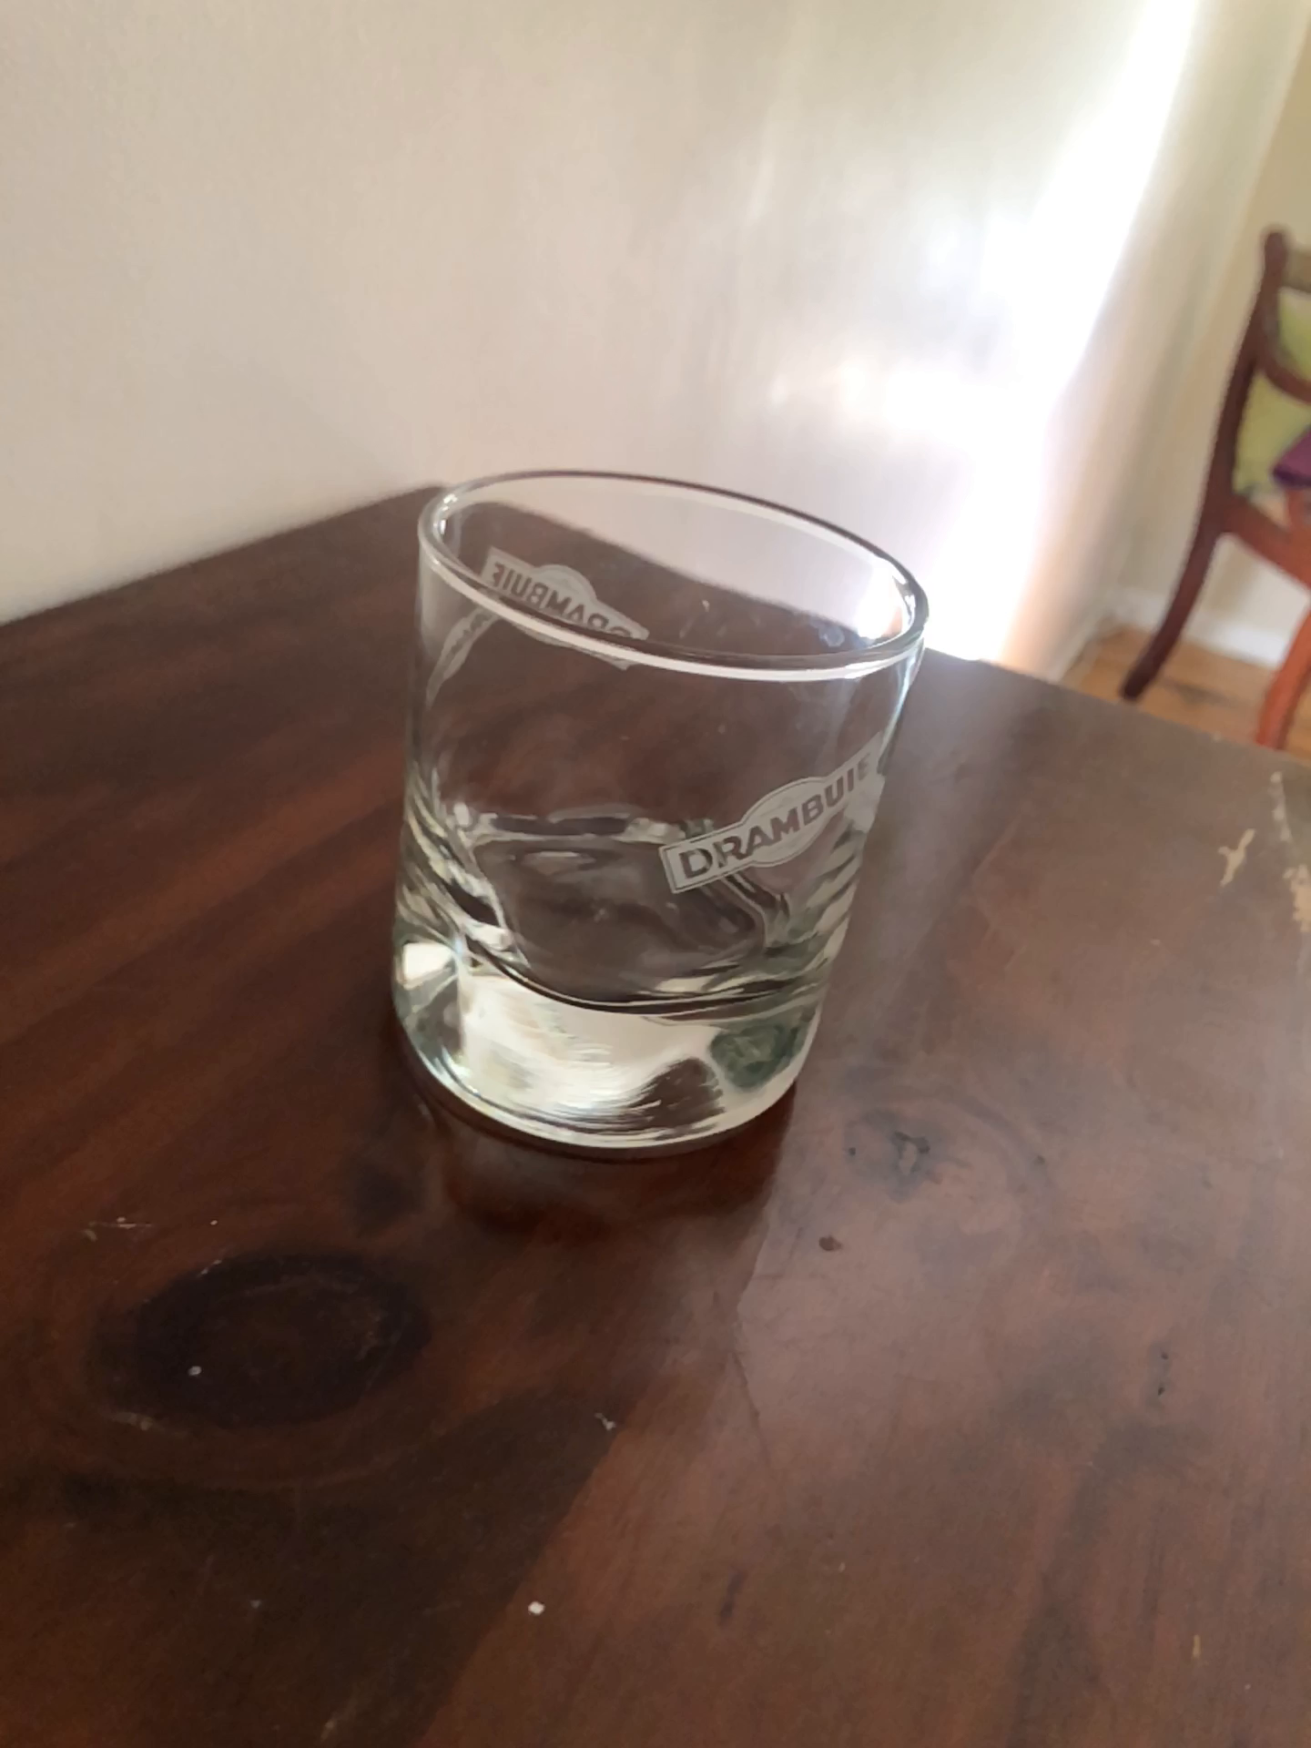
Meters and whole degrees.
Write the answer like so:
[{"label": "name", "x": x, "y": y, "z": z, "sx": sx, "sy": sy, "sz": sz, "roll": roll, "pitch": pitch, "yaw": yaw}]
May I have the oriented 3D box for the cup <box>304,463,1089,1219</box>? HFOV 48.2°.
[{"label": "cup", "x": -0.001, "y": -0.012, "z": 0.233, "sx": 0.082, "sy": 0.080, "sz": 0.081, "roll": 8, "pitch": 29, "yaw": -5}]
